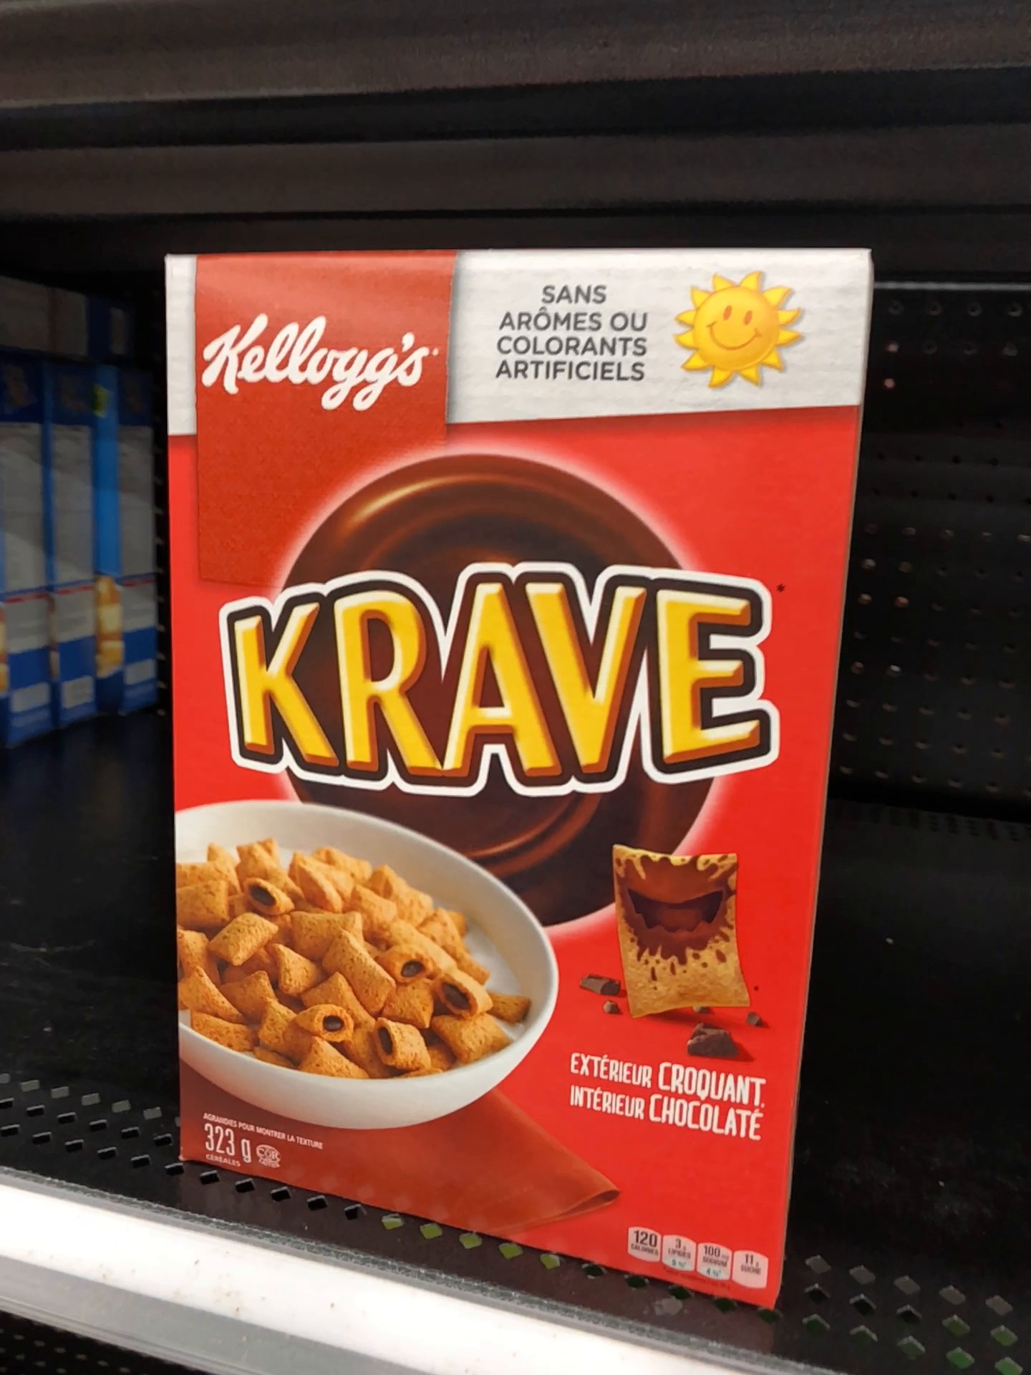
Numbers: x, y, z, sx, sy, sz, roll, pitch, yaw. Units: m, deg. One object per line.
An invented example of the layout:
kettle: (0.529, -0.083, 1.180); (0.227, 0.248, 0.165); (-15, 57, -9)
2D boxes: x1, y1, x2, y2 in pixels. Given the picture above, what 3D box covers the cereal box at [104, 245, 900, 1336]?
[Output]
cereal box: (-0.013, 0.022, 0.335); (0.210, 0.279, 0.050); (6, 11, 17)
